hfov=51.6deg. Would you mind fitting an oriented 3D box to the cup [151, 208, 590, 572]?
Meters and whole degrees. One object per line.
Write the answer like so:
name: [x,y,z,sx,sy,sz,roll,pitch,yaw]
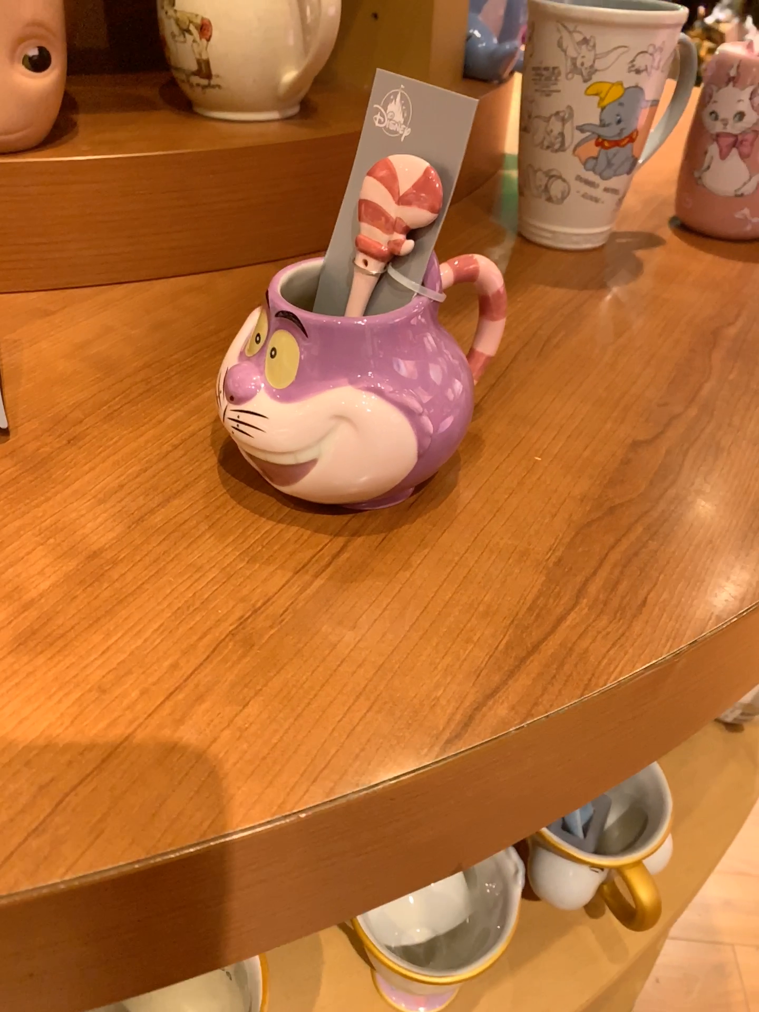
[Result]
cup: [0.000,-0.062,0.342,0.114,0.077,0.143,28,44,29]
